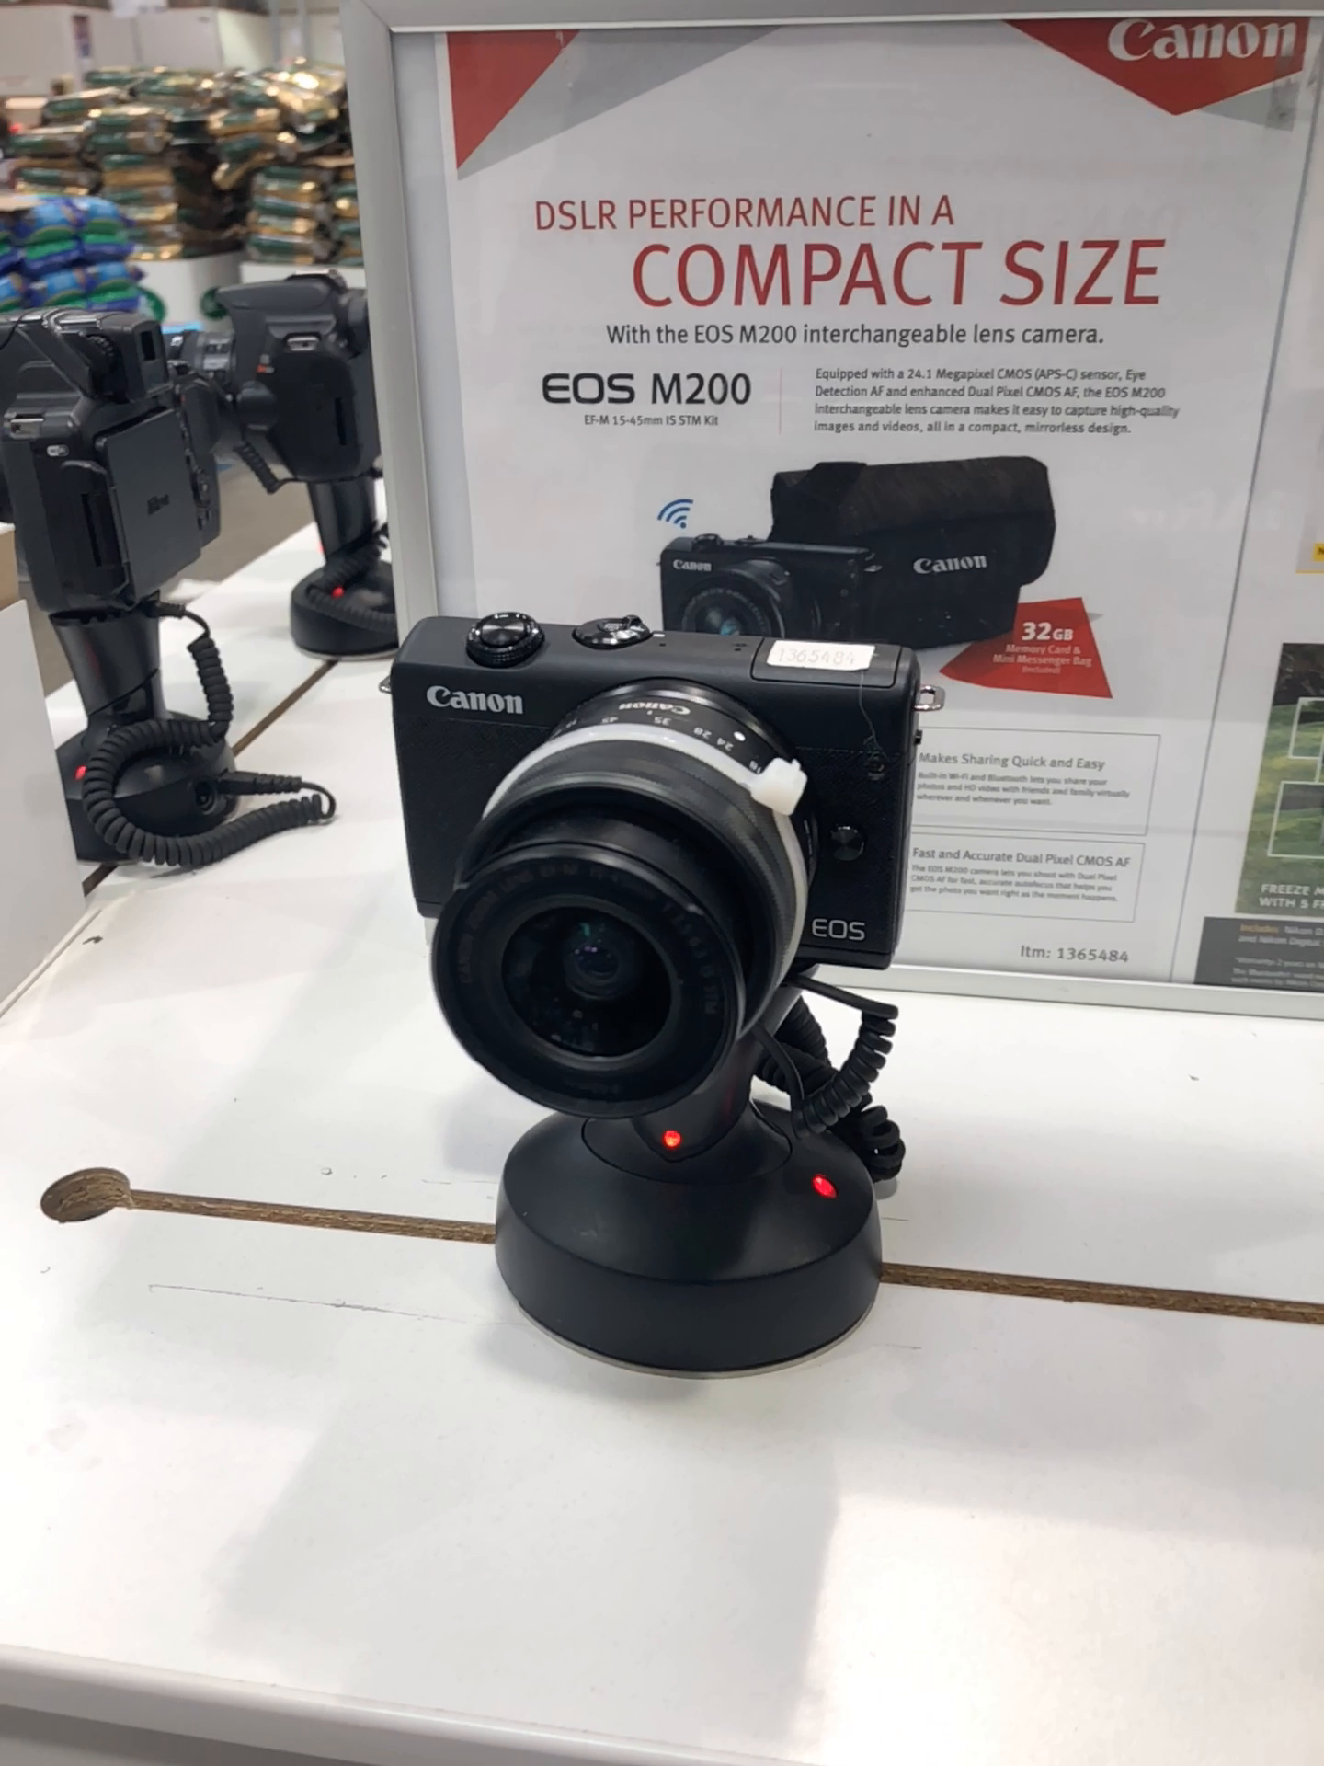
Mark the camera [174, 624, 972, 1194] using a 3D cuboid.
[{"bbox_3d":[-0.005,-0.005,0.284,0.120,0.050,0.120,5,27,12],"label":"camera"}]
